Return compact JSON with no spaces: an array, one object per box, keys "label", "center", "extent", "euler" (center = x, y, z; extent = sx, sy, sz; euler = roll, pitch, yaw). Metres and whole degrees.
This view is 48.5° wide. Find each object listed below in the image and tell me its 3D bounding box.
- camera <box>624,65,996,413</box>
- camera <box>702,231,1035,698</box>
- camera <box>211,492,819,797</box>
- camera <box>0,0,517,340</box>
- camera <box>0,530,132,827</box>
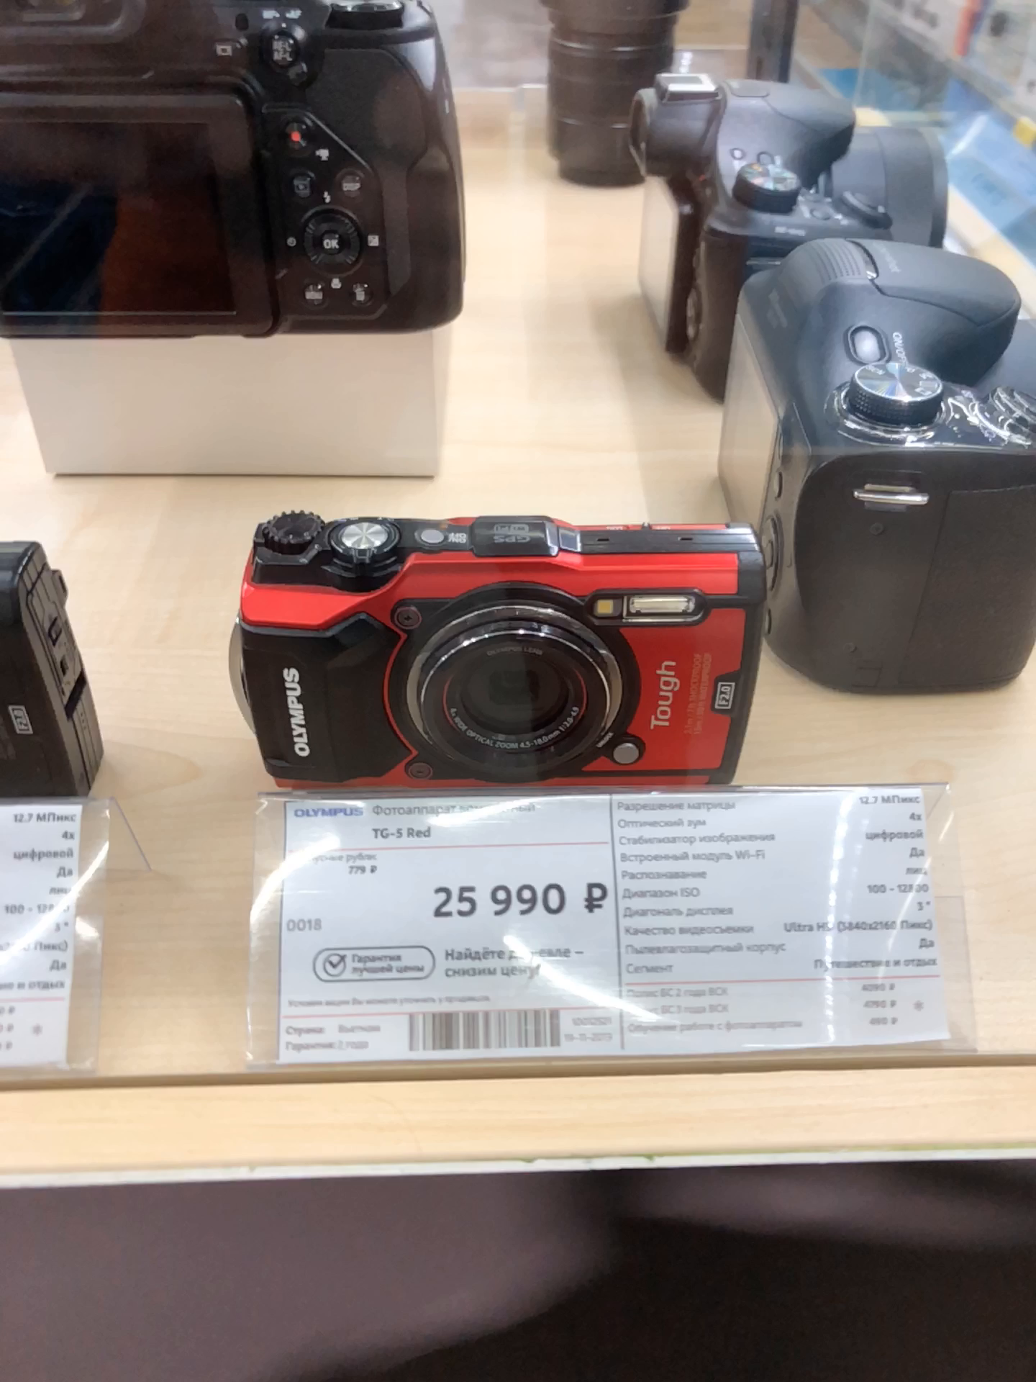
[{"label":"camera","center":[0.105,-0.189,0.468],"extent":[0.102,0.086,0.159],"euler":[-1,40,-2]},{"label":"camera","center":[0.109,-0.066,0.313],"extent":[0.094,0.078,0.117],"euler":[0,40,-1]},{"label":"camera","center":[-0.001,-0.009,0.255],"extent":[0.119,0.061,0.030],"euler":[0,40,-1]},{"label":"camera","center":[-0.074,-0.171,0.338],"extent":[0.147,0.086,0.127],"euler":[0,40,-1]},{"label":"camera","center":[-0.156,-0.002,0.261],"extent":[0.116,0.061,0.030],"euler":[0,40,-1]}]
